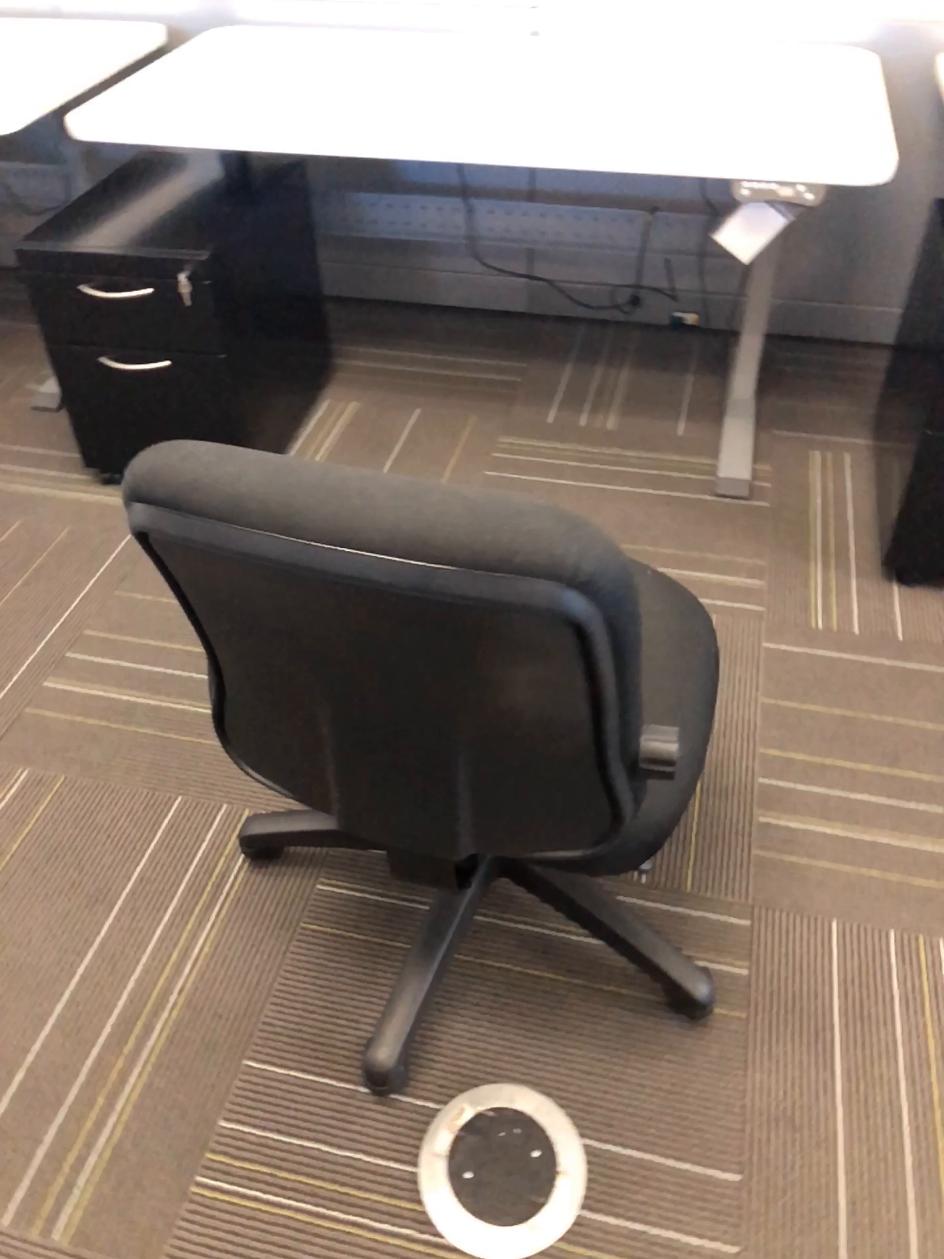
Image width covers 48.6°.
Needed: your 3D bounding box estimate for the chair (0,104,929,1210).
[{"bbox_3d":[-0.041,-0.008,1.170,0.770,0.846,0.763,8,42,11],"label":"chair"}]
